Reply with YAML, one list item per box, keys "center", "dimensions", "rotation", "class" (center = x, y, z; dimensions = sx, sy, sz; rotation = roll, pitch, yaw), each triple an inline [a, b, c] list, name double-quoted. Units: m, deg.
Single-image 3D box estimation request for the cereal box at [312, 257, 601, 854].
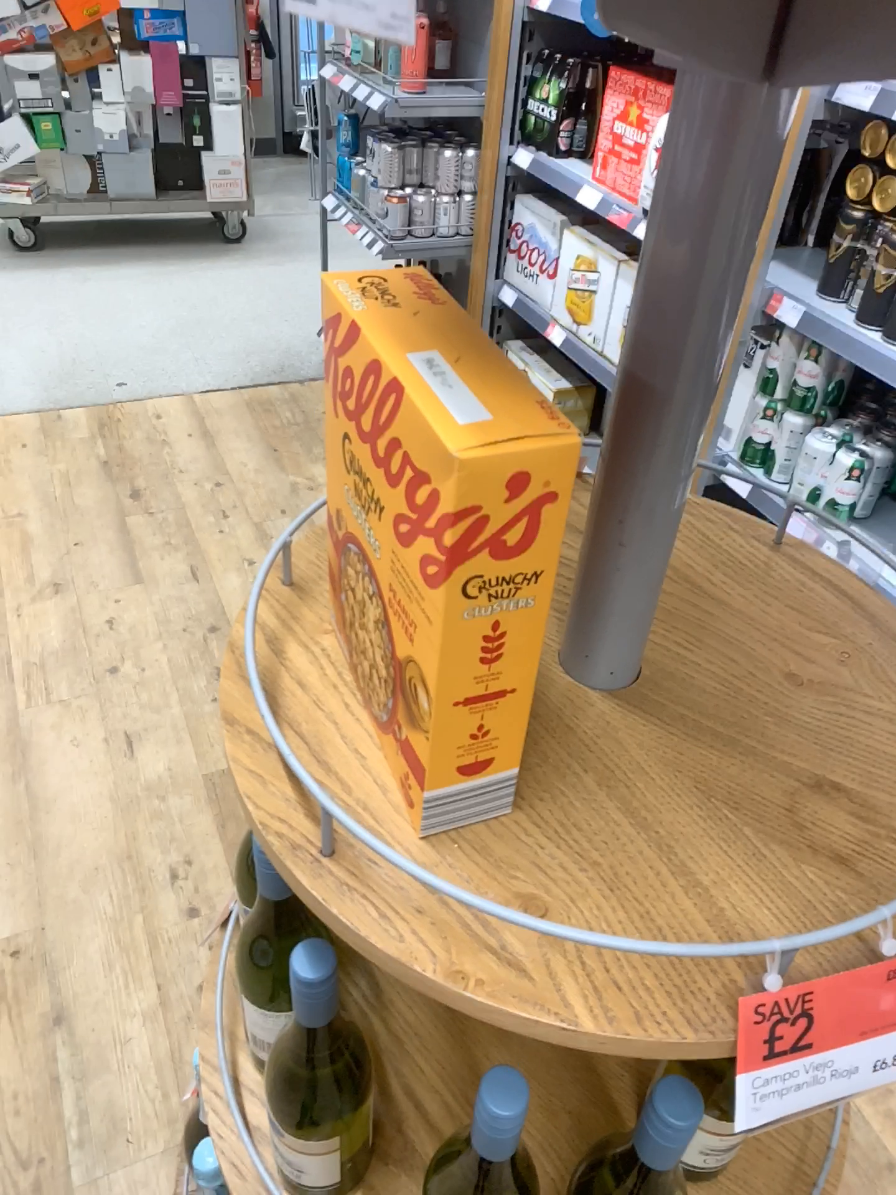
- center: [-0.015, -0.027, 0.493]
  dimensions: [0.060, 0.238, 0.212]
  rotation: [-10, 41, -19]
  class: "cereal box"
